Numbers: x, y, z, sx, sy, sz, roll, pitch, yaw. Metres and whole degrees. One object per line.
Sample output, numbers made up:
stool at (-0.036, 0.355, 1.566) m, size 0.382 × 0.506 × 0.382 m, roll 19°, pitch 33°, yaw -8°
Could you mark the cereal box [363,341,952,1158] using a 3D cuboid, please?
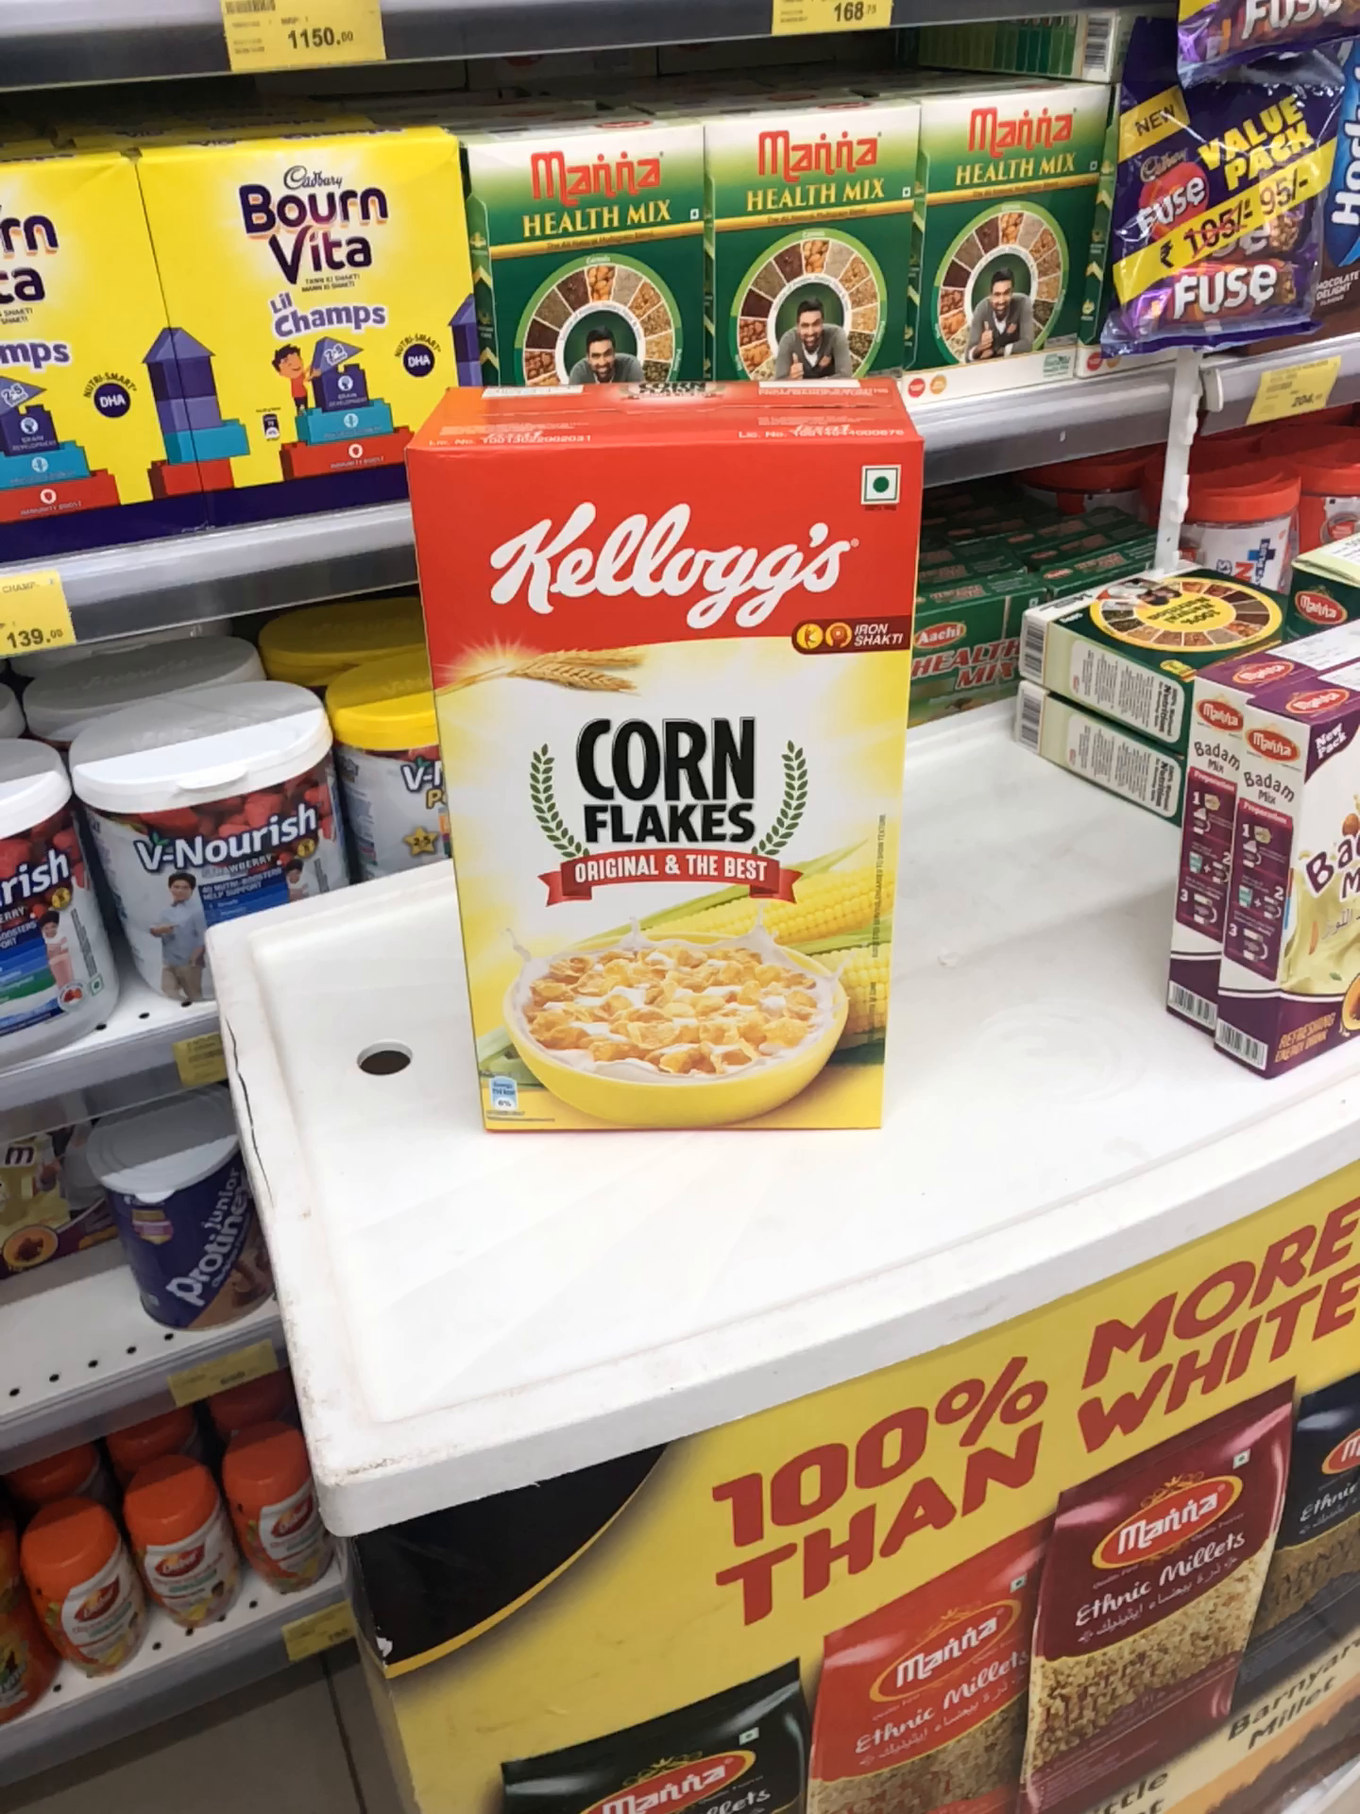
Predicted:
cereal box at (0.001, -0.055, 0.644) m, size 0.200 × 0.329 × 0.110 m, roll 0°, pitch 33°, yaw 4°
